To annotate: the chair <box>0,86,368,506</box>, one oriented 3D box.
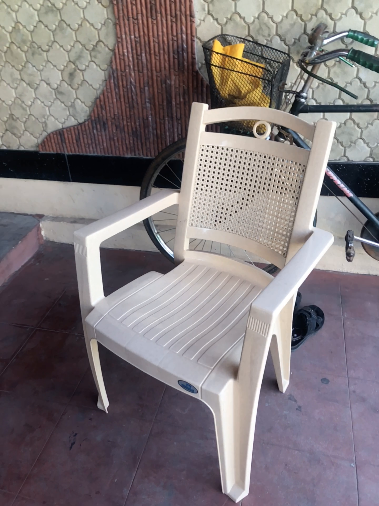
[{"bbox_3d":[0.008,0.078,1.097,0.590,0.826,0.553,20,40,32],"label":"chair"}]
